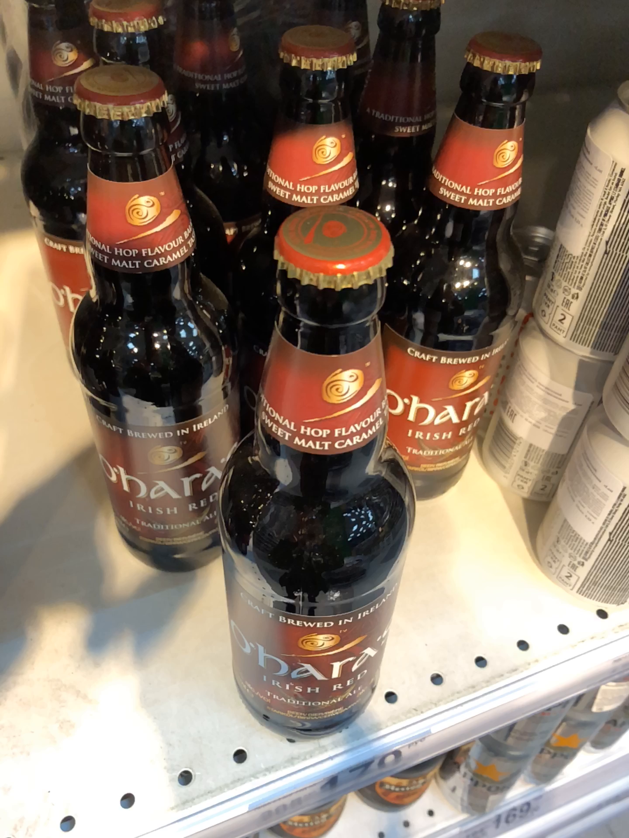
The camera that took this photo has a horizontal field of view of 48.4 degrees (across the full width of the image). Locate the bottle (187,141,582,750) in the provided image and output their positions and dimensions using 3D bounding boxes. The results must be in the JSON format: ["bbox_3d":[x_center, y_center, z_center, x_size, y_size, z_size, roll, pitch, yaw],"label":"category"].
[{"bbox_3d":[0.006,0.036,0.257,0.080,0.246,0.080,2,47,-2],"label":"bottle"}]
